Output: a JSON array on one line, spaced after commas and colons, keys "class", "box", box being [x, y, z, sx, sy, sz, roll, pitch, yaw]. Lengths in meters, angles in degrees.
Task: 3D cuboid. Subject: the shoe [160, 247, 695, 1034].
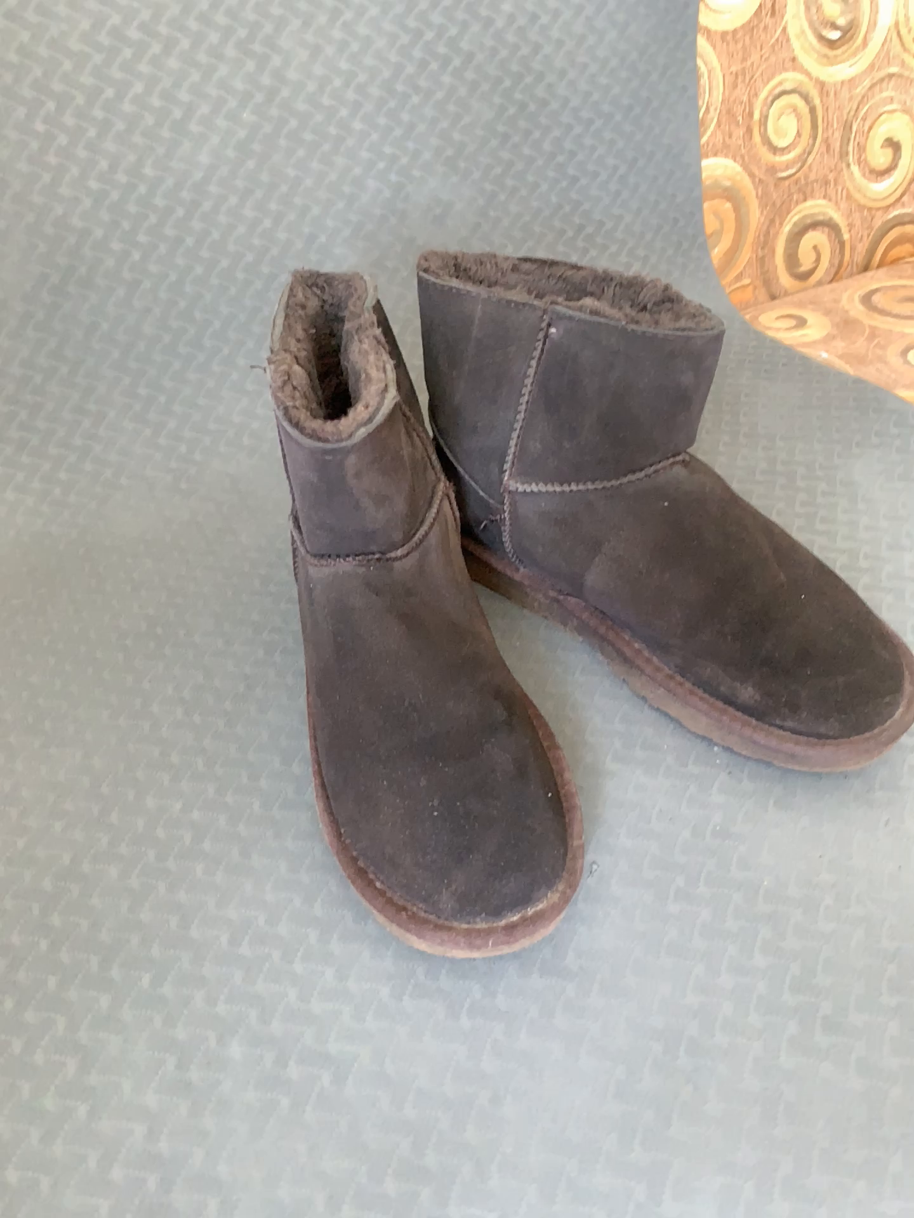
[{"class": "shoe", "box": [-0.029, -0.004, 0.356, 0.100, 0.139, 0.254, -15, 50, -12]}]

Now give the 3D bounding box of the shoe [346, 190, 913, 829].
[{"class": "shoe", "box": [0.084, -0.052, 0.393, 0.254, 0.139, 0.100, 34, 57, 27]}]
